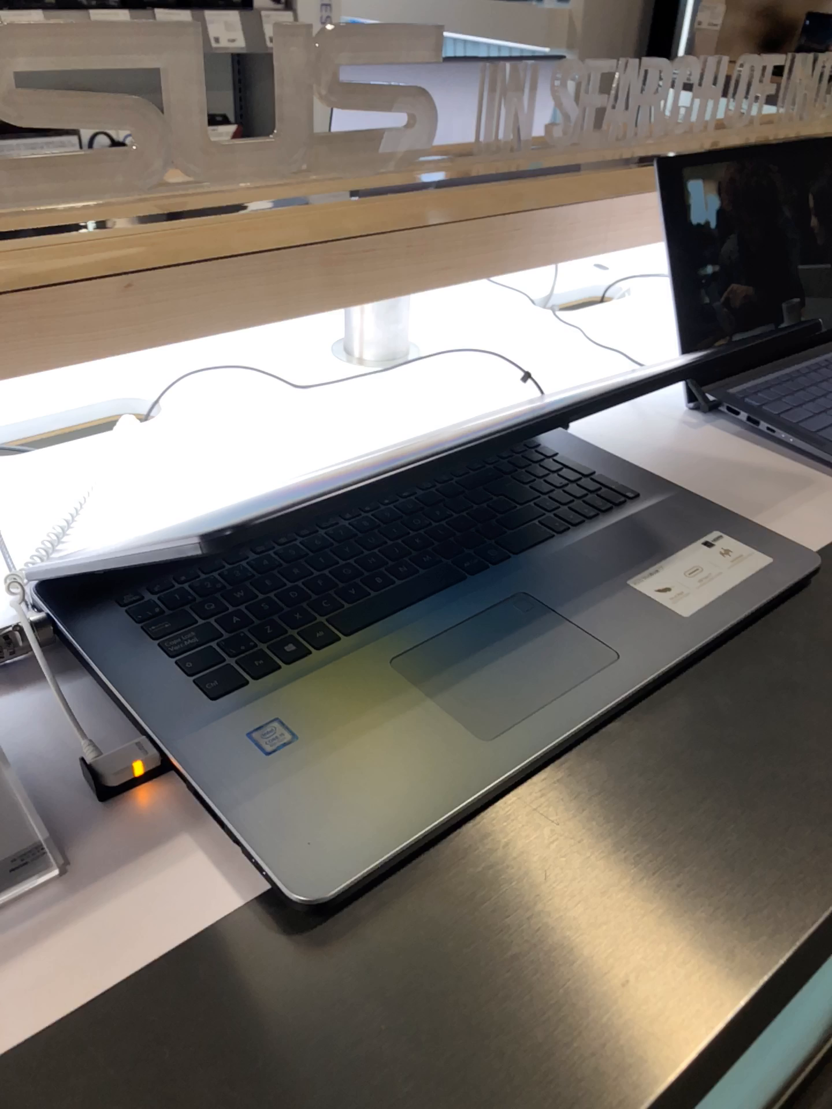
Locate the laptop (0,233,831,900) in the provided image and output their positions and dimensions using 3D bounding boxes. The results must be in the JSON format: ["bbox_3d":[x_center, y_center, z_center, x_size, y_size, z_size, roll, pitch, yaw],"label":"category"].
[{"bbox_3d":[0.019,-0.048,0.510,0.391,0.144,0.260,-24,43,-35],"label":"laptop"}]
